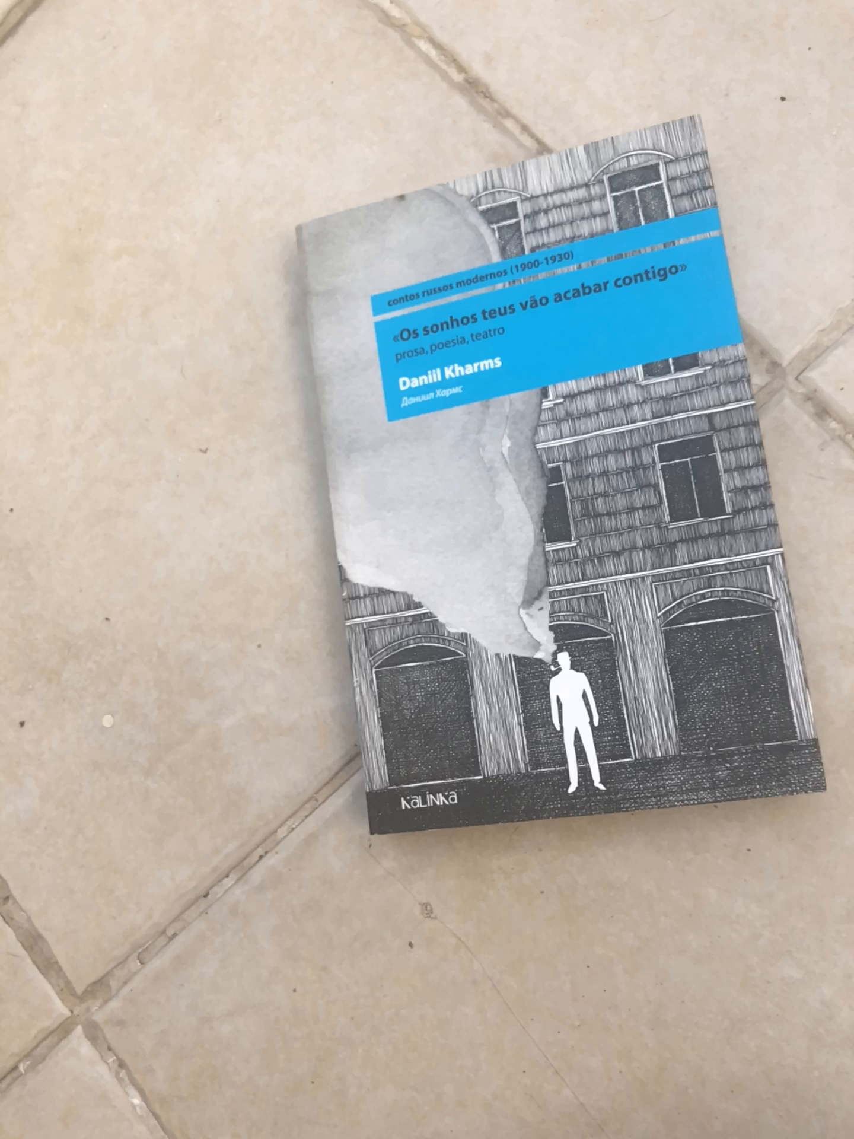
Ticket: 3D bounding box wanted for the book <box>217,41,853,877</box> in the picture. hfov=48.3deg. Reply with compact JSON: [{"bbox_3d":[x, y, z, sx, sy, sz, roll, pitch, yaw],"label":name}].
[{"bbox_3d":[0.021,-0.022,0.231,0.120,0.040,0.170,-10,81,14],"label":"book"}]
